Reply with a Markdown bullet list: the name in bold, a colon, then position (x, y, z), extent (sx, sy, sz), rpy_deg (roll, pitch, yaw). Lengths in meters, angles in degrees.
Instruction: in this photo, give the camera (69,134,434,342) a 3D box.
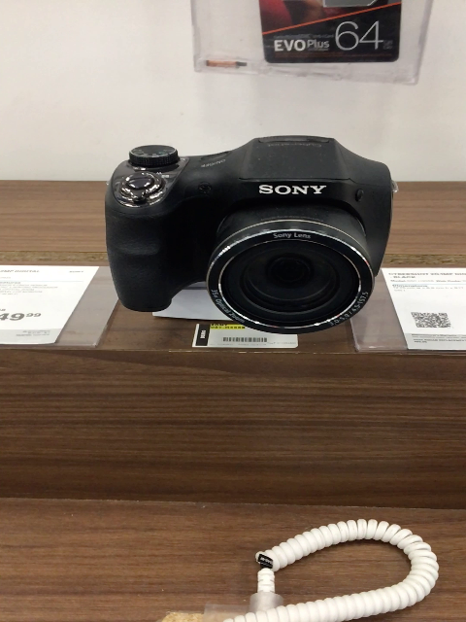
- **camera**: position (0.008, -0.041, 0.313), extent (0.146, 0.072, 0.106), rpy_deg (-1, 32, 1)
